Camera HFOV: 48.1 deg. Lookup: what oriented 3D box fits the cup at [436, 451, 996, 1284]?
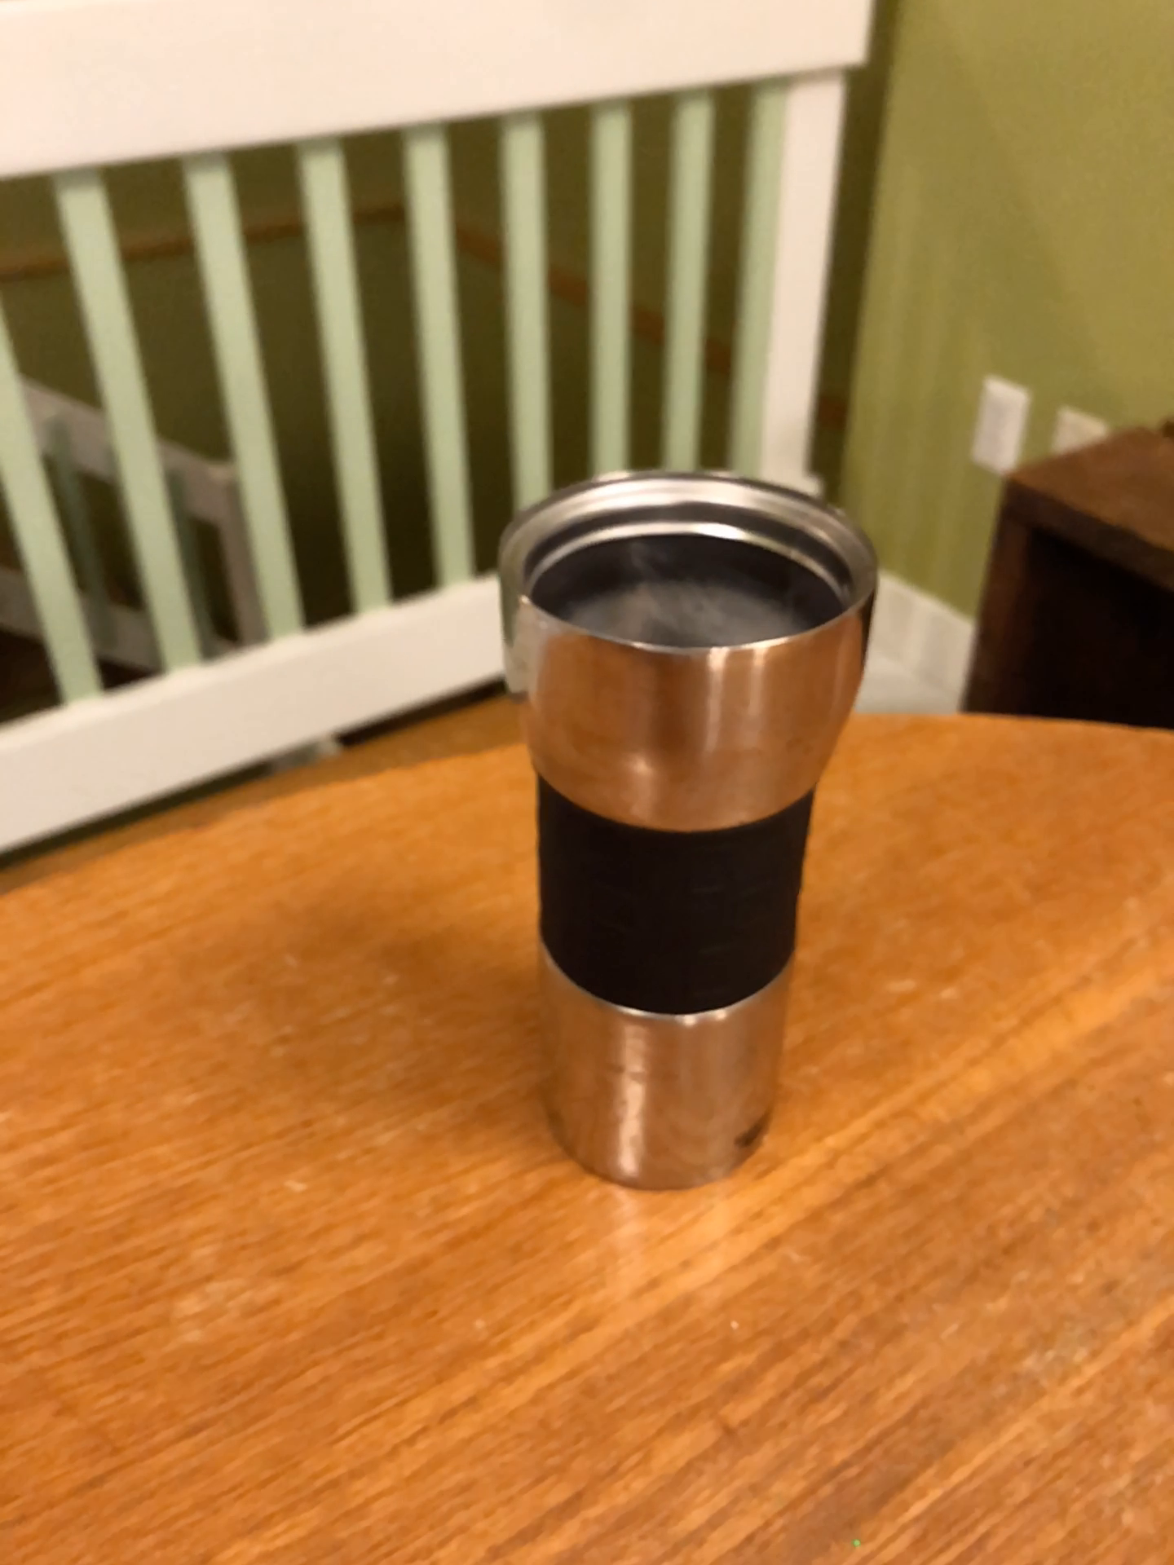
[{"bbox_3d":[0.028,0.022,0.334,0.084,0.173,0.088,0,37,0],"label":"cup"}]
